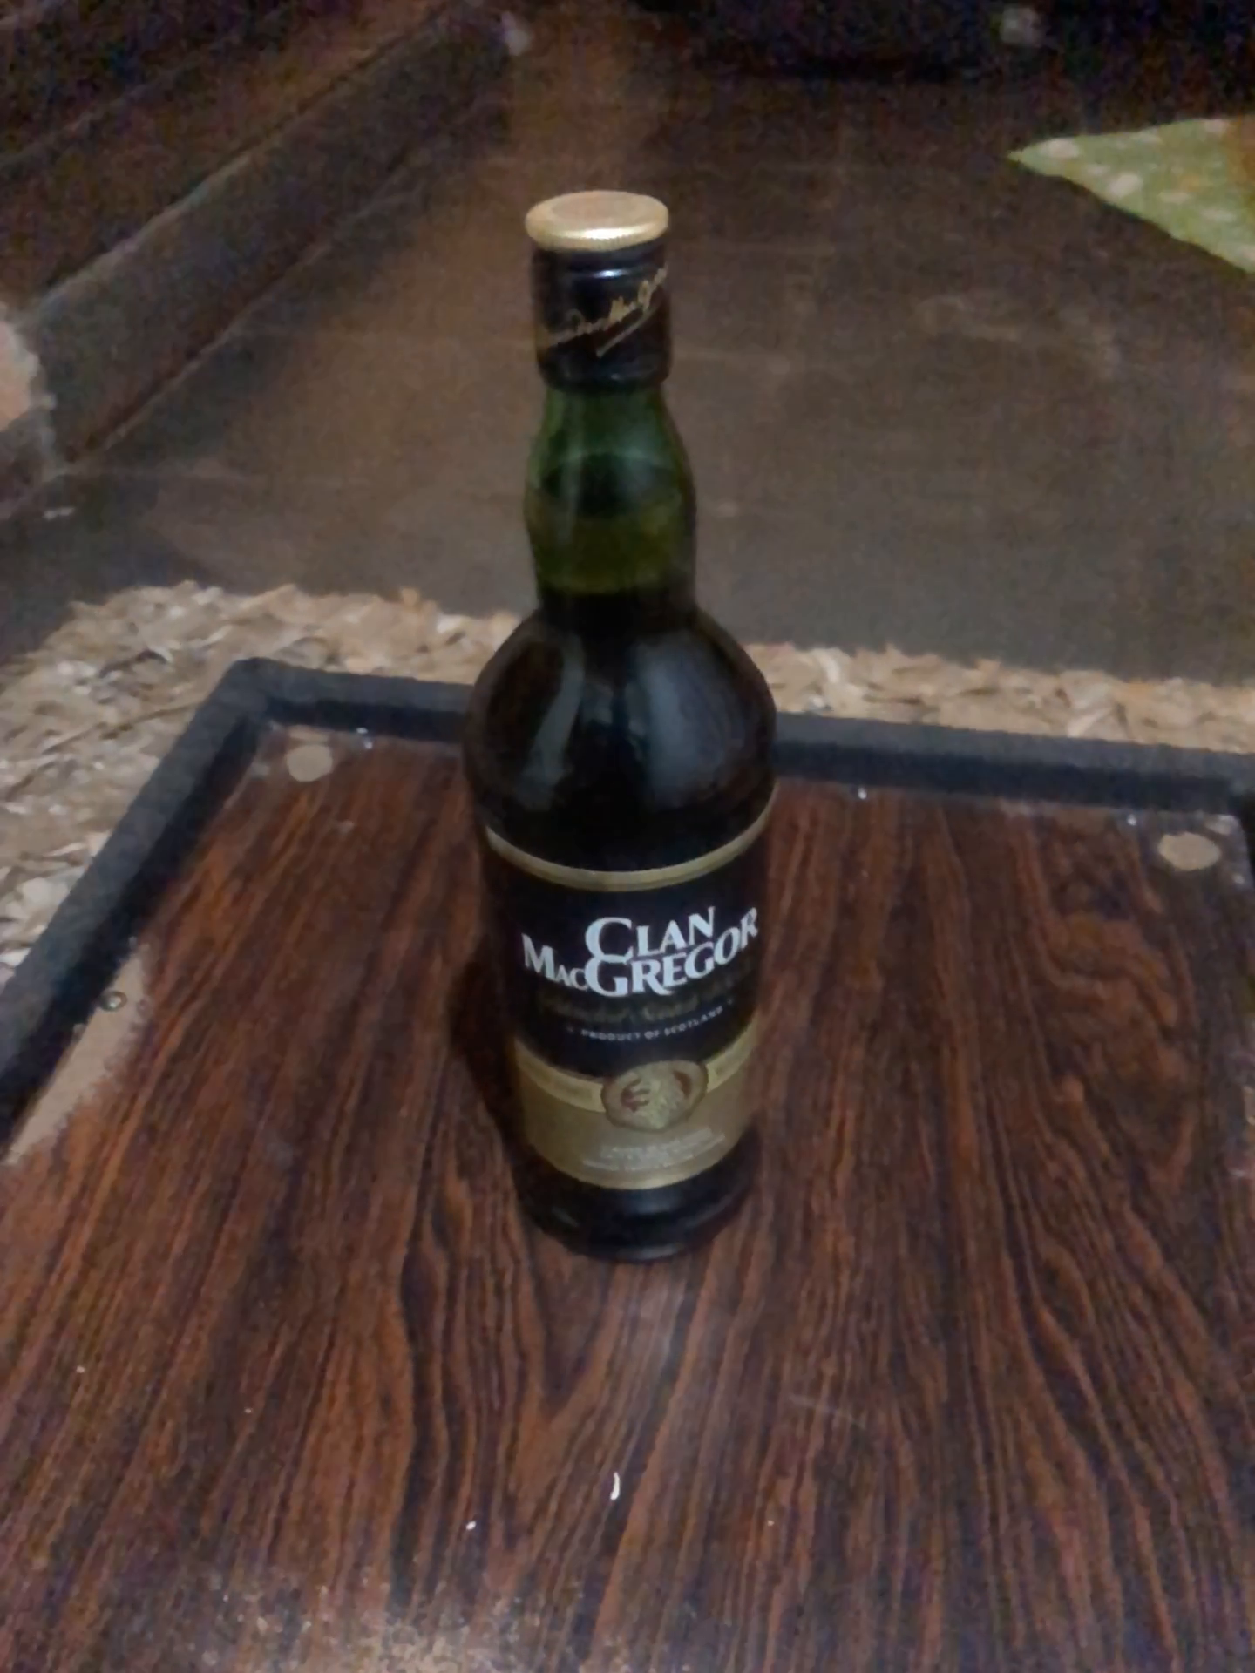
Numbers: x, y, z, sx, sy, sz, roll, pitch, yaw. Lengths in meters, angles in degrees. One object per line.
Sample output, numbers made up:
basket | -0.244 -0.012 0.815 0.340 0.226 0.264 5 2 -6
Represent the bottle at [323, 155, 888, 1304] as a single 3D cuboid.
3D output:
bottle | -0.005 -0.005 0.384 0.100 0.308 0.101 -1 41 1
